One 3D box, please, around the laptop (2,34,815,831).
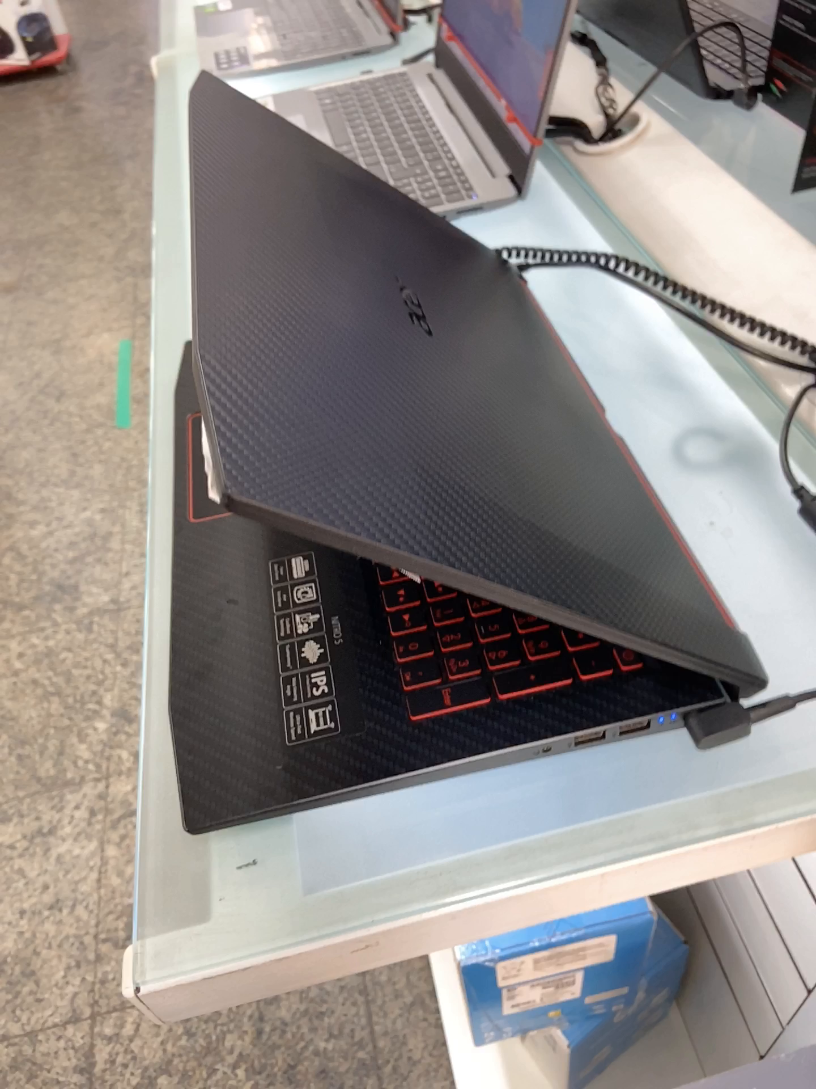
[{"bbox_3d":[-0.023,-0.096,0.428,0.234,0.163,0.382,-13,45,-3],"label":"laptop"}]
